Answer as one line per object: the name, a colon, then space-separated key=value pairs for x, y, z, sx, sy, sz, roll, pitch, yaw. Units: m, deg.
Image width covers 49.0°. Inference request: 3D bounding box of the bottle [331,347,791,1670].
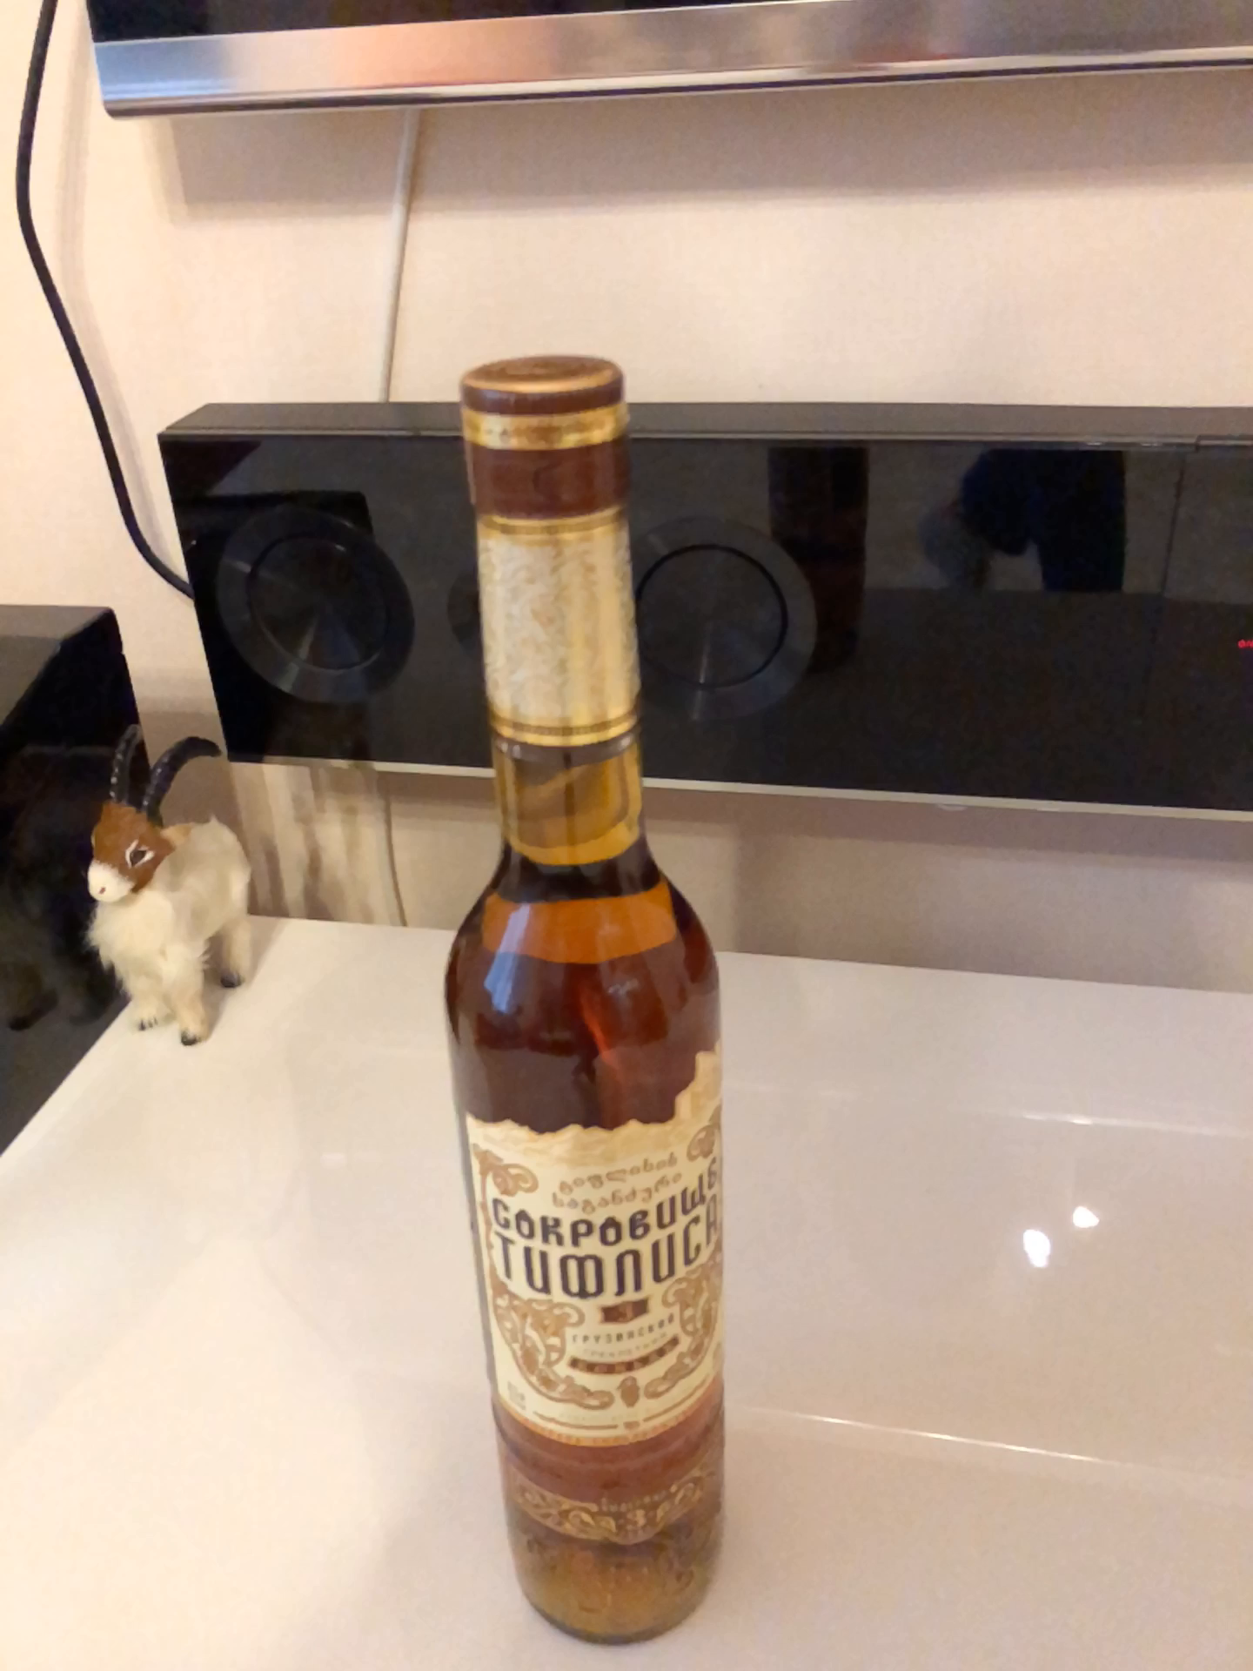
bottle: x=-0.009 y=0.057 z=0.316 sx=0.070 sy=0.308 sz=0.070 roll=-2 pitch=28 yaw=1
